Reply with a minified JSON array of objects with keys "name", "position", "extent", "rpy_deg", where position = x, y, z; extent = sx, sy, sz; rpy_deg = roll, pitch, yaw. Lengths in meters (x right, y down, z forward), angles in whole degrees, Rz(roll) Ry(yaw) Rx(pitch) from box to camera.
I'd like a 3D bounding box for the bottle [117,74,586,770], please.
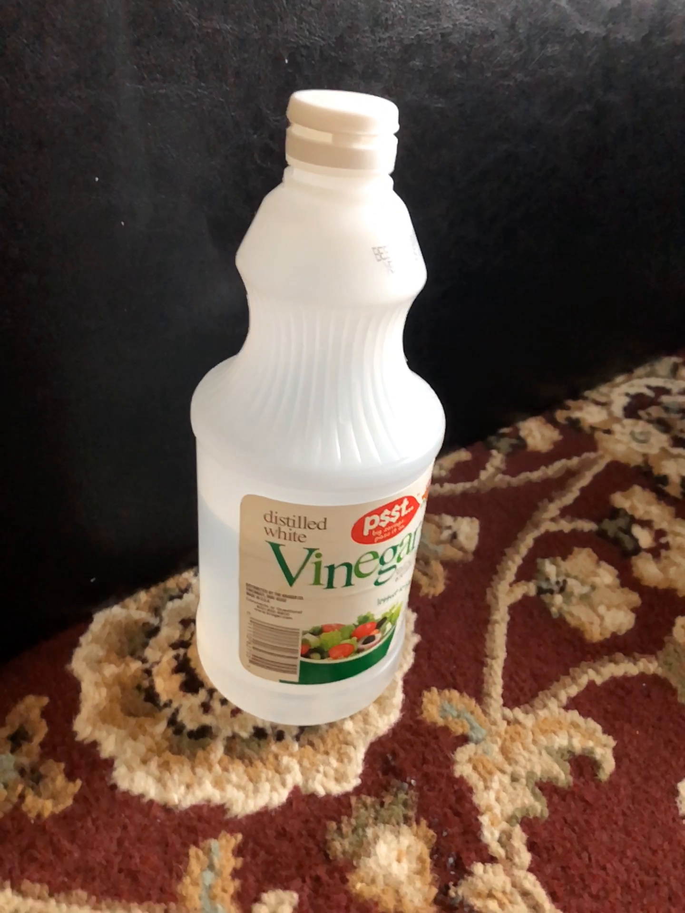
[{"name":"bottle","position":[-0.009,-0.009,0.276],"extent":[0.100,0.219,0.090],"rpy_deg":[-15,39,-27]}]
